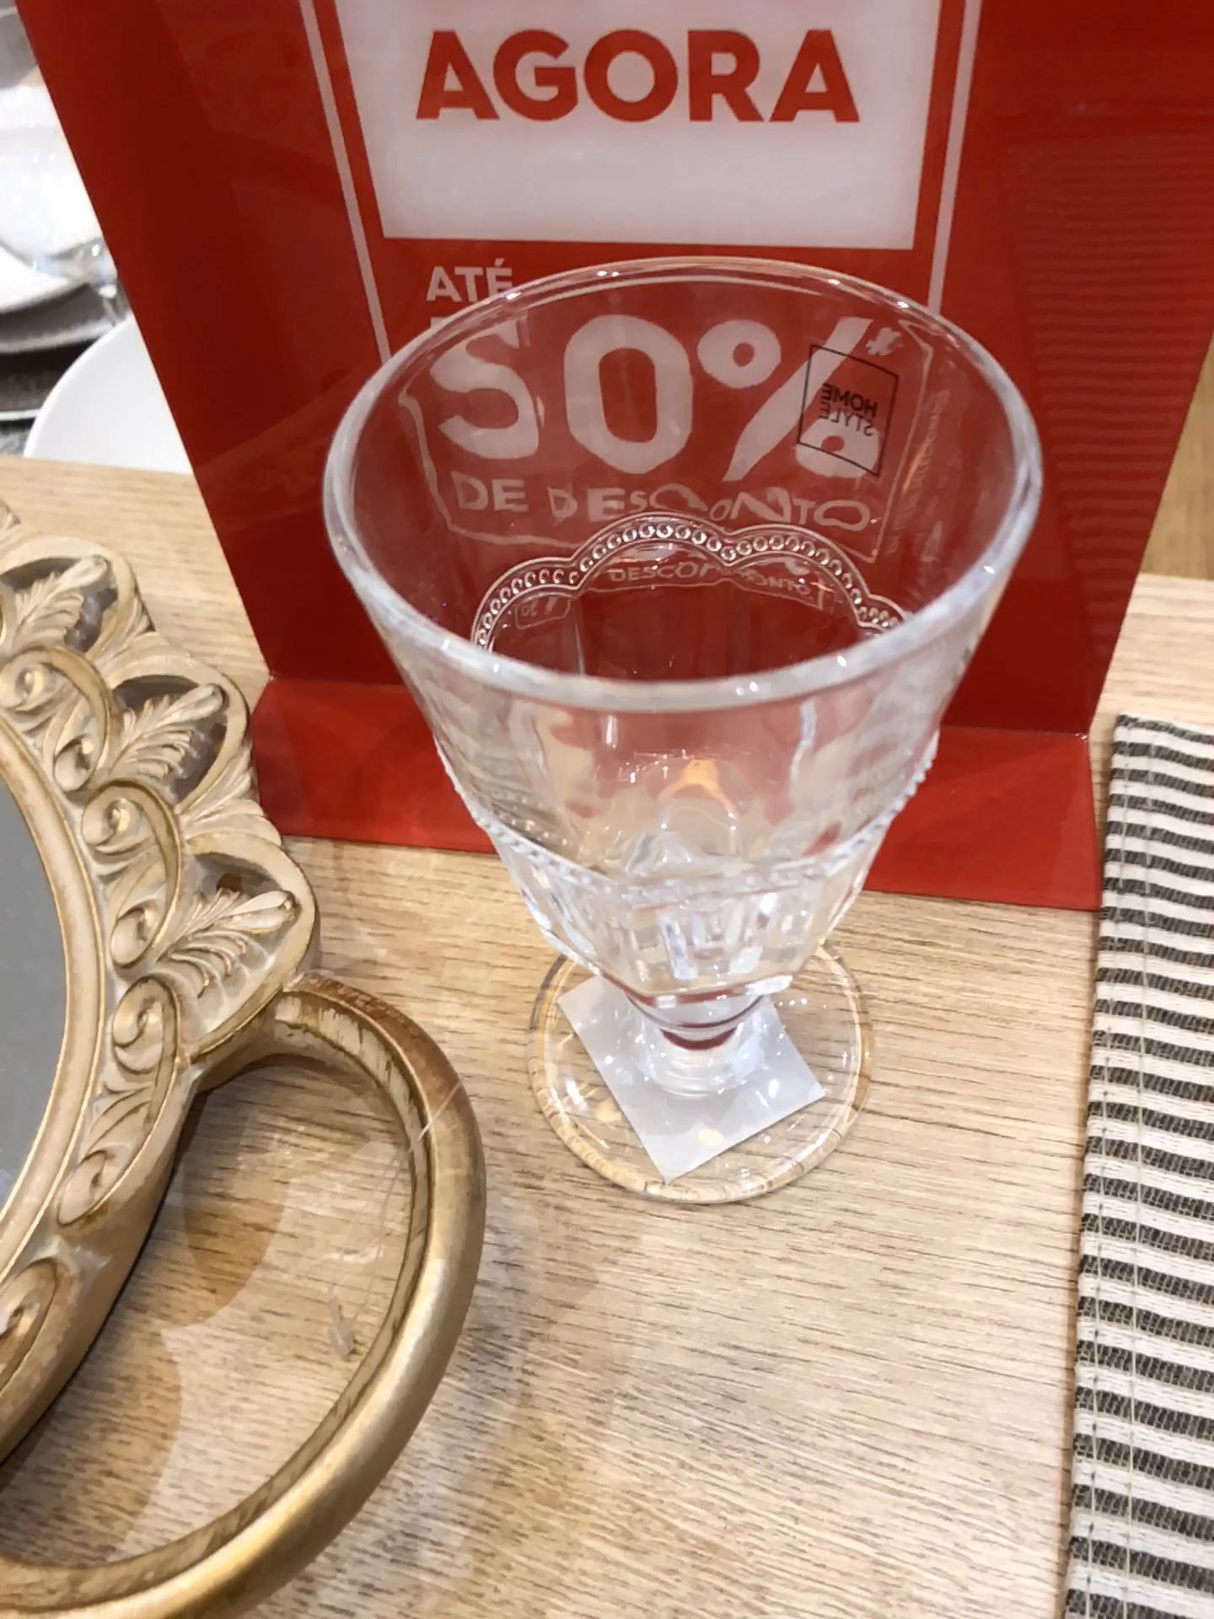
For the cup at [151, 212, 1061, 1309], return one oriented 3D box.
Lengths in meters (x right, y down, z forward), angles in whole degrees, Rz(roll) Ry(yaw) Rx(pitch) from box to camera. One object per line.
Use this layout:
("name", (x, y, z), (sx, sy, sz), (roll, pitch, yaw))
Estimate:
("cup", (0.010, 0.001, 0.203), (0.080, 0.139, 0.080), (-3, 51, 3))
